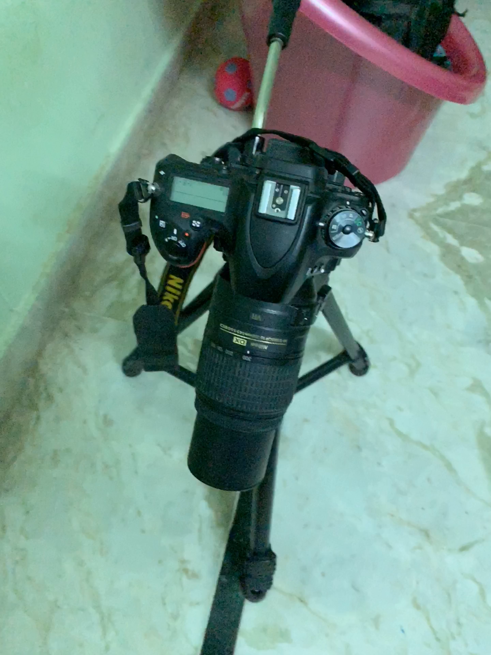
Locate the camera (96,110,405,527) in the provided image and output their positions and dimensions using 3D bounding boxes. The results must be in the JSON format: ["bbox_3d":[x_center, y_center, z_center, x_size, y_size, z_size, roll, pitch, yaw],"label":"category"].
[{"bbox_3d":[0.001,-0.010,0.340,0.130,0.214,0.116,15,15,5],"label":"camera"}]
